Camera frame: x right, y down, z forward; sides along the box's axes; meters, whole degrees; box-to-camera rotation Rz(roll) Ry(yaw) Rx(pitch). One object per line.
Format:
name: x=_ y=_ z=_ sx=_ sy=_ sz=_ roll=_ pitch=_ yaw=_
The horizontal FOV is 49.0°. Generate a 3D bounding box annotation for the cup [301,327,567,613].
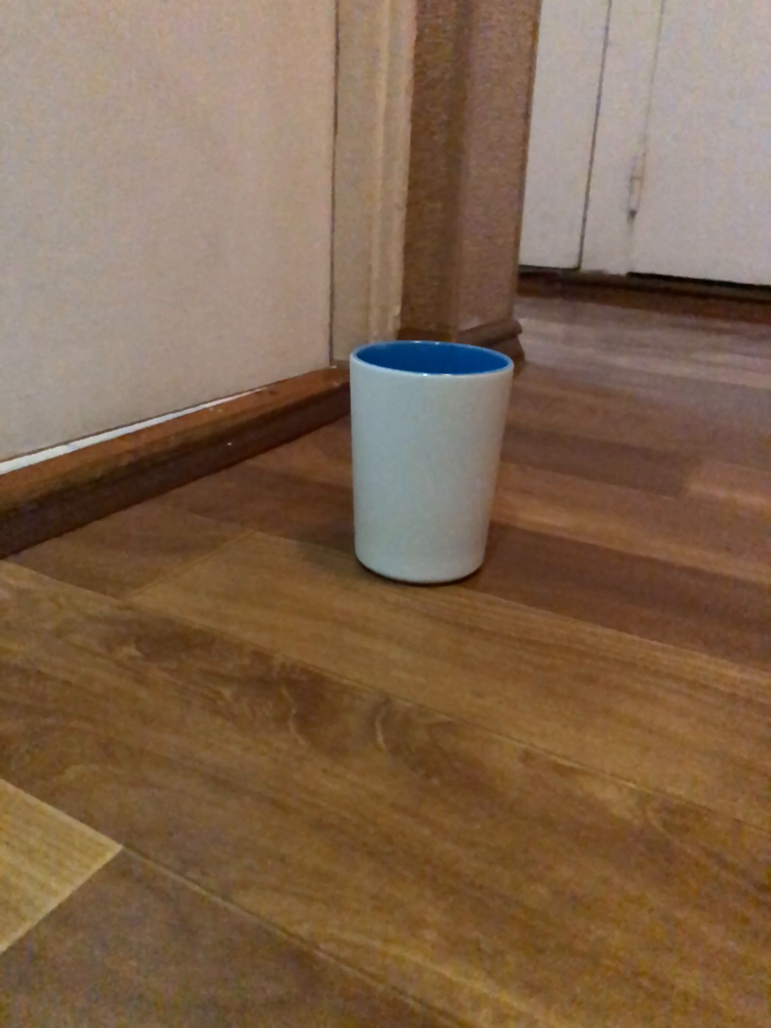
cup: x=0.028 y=-0.033 z=0.467 sx=0.088 sy=0.112 sz=0.130 roll=15 pitch=24 yaw=28
